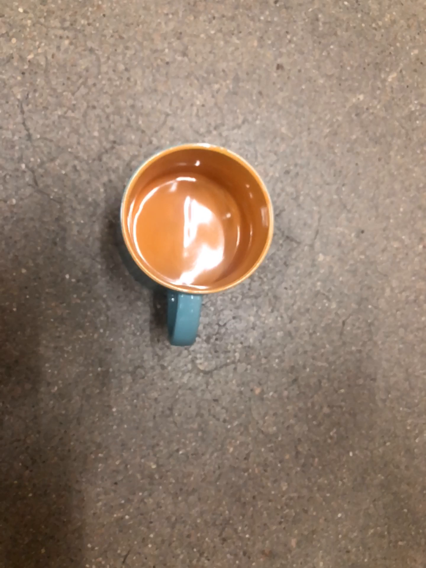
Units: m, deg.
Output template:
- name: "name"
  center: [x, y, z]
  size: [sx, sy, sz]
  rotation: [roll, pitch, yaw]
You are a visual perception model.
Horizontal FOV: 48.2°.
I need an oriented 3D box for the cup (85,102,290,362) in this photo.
- name: "cup"
  center: [-0.021, -0.029, 0.336]
  size: [0.107, 0.097, 0.143]
  rotation: [7, 89, -9]
